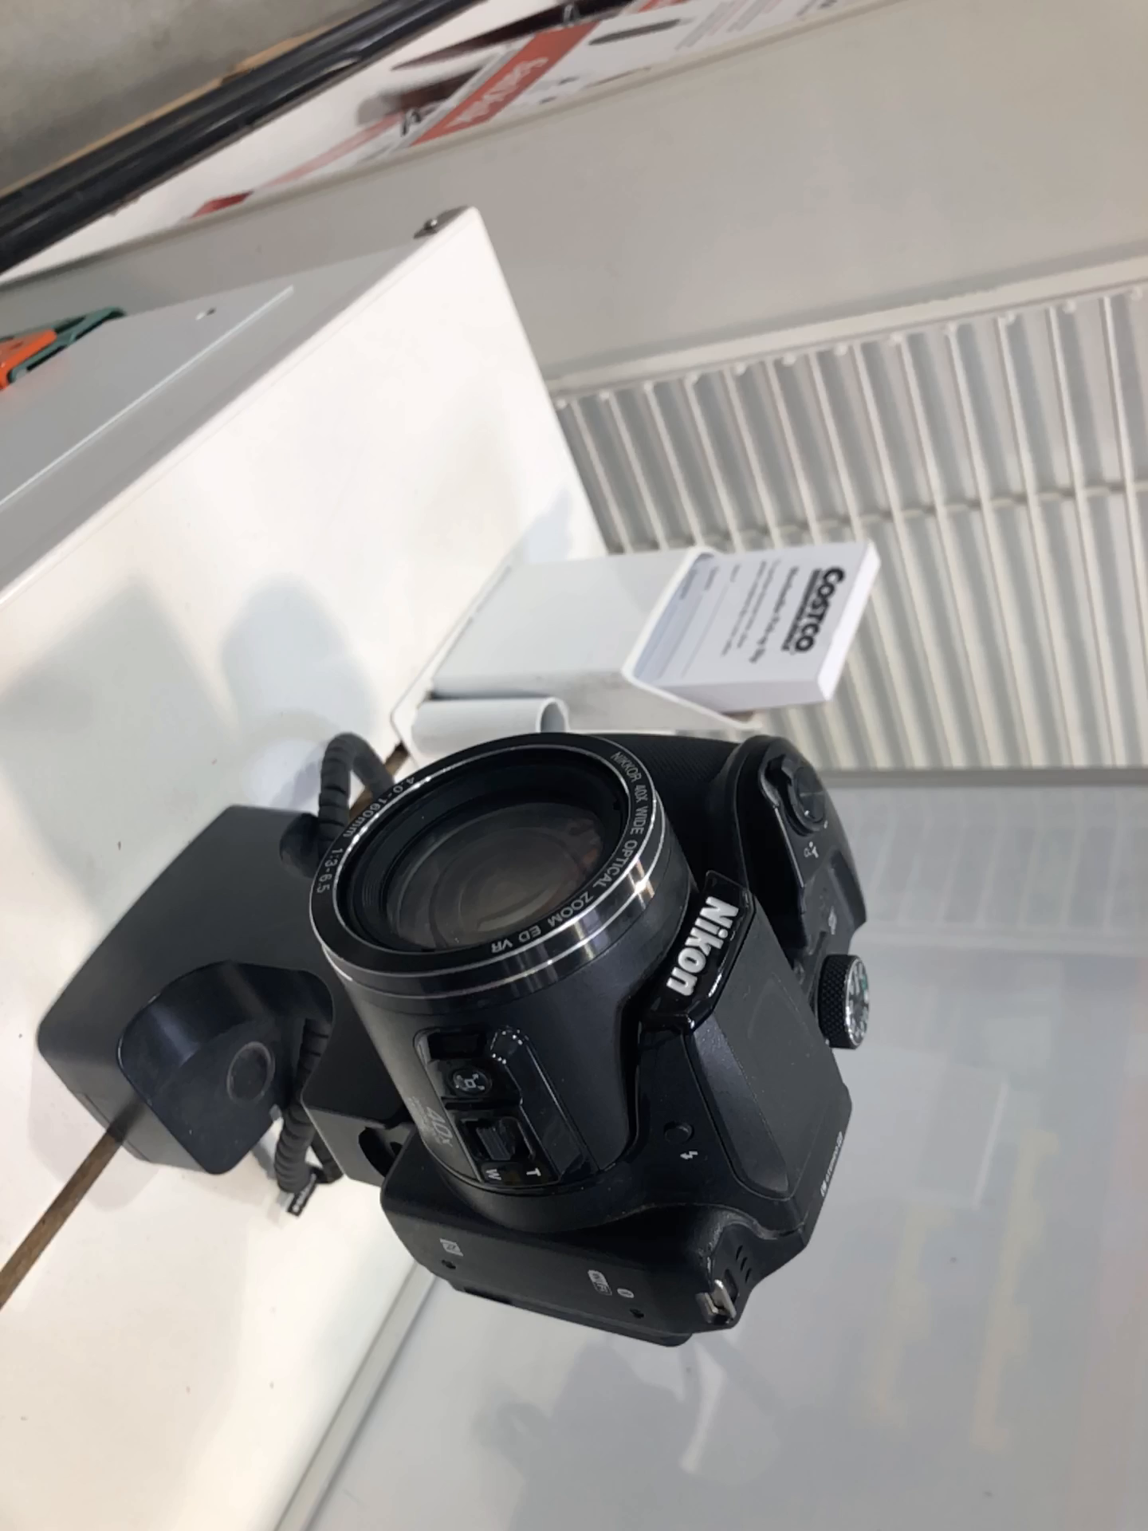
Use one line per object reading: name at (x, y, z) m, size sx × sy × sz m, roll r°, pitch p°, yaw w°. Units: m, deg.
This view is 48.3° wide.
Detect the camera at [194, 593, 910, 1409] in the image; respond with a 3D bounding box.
camera at (0.009, 0.042, 0.264) m, size 0.116 × 0.079 × 0.101 m, roll -61°, pitch 139°, yaw -40°
